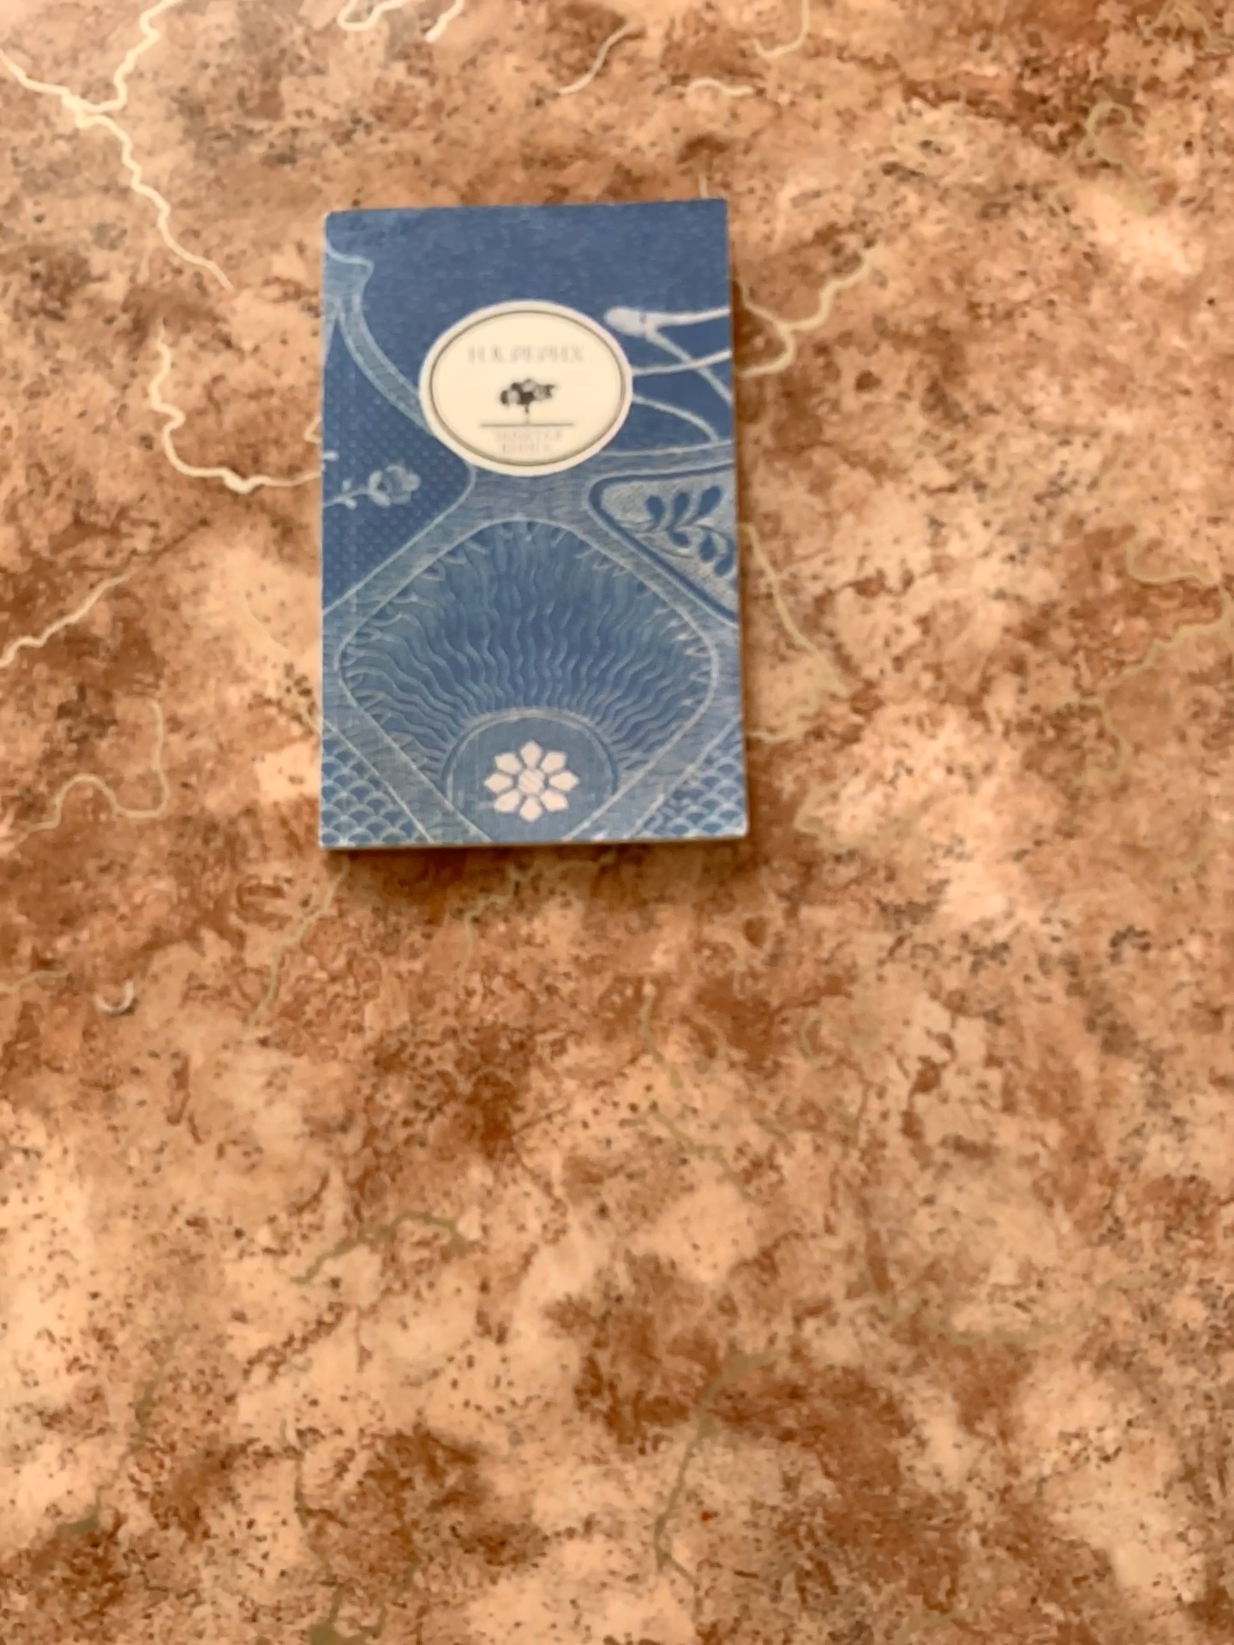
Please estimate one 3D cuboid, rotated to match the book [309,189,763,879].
[{"bbox_3d":[-0.026,-0.087,0.379,0.125,0.015,0.203,-2,82,-2],"label":"book"}]
